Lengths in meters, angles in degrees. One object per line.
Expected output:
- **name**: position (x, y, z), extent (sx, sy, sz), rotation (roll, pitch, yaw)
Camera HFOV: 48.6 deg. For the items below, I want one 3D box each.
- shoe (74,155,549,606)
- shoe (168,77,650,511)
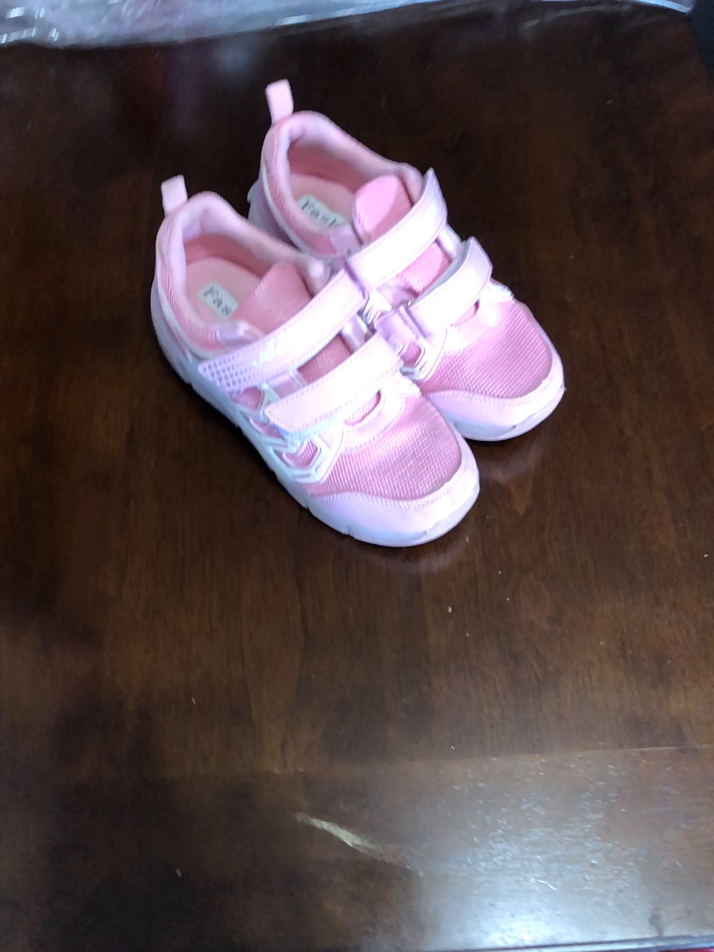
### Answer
- **shoe**: position (-0.029, -0.058, 0.460), extent (0.250, 0.110, 0.100), rotation (39, 72, 20)
- **shoe**: position (0.024, -0.116, 0.492), extent (0.260, 0.110, 0.110), rotation (38, 72, 20)
